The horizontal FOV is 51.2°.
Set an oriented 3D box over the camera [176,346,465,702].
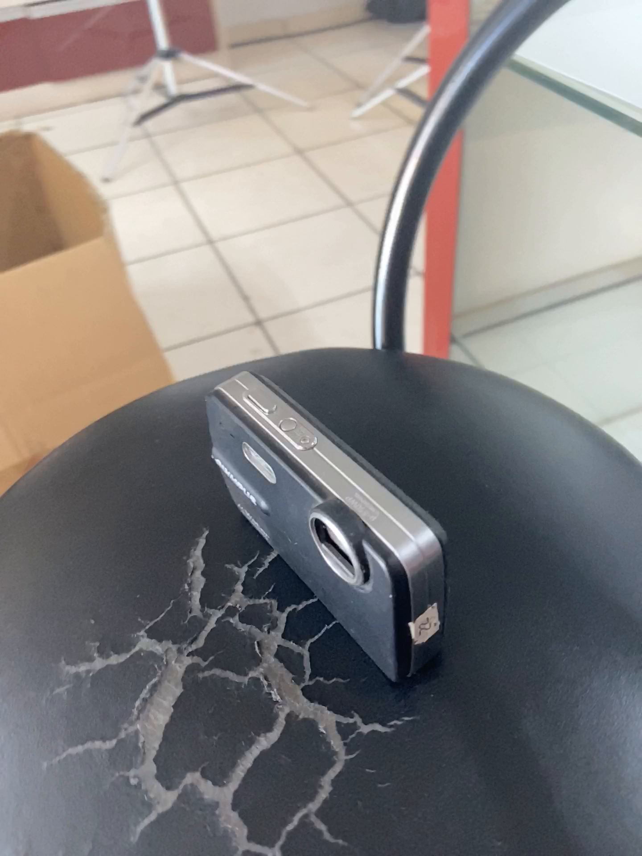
[{"bbox_3d":[-0.003,0.026,0.214,0.030,0.060,0.100,-30,49,-22],"label":"camera"}]
